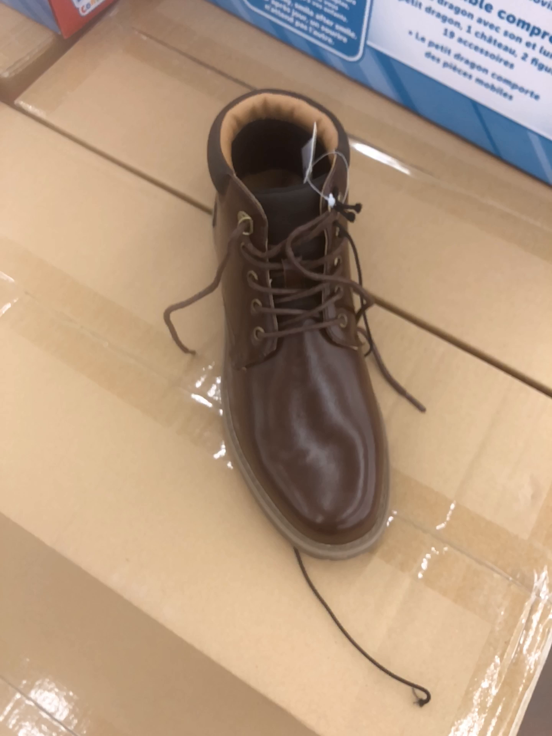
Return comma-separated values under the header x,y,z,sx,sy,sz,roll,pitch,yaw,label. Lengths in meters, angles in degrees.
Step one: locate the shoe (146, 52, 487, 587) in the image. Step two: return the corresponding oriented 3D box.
x,y,z,sx,sy,sz,roll,pitch,yaw,label
0.006,-0.027,0.402,0.120,0.160,0.290,-10,67,-6,shoe
